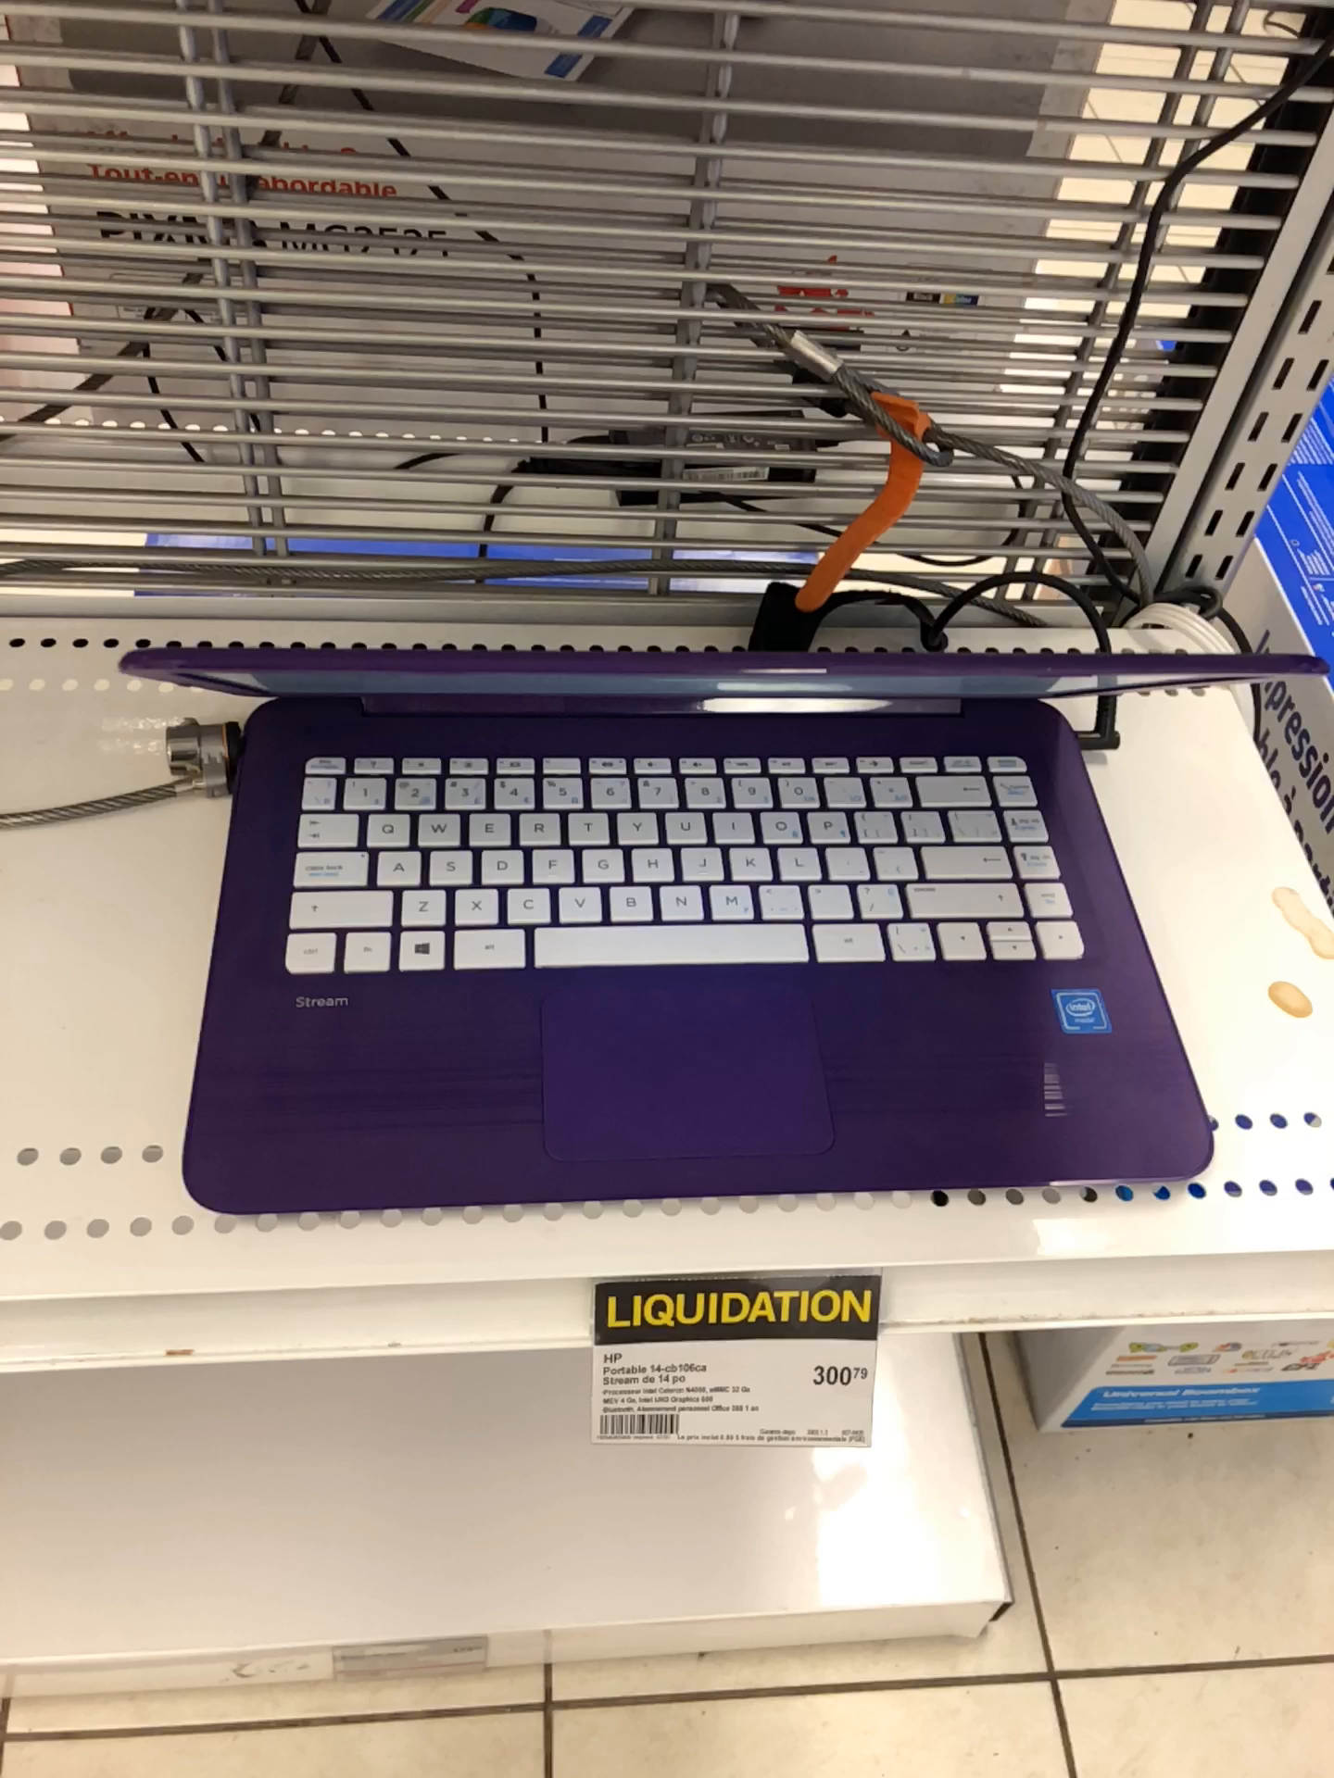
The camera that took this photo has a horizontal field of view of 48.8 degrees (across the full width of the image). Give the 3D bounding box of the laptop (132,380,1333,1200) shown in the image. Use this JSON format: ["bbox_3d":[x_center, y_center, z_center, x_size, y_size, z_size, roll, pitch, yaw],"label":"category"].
[{"bbox_3d":[0.017,-0.035,0.469,0.305,0.138,0.207,0,53,-6],"label":"laptop"}]
